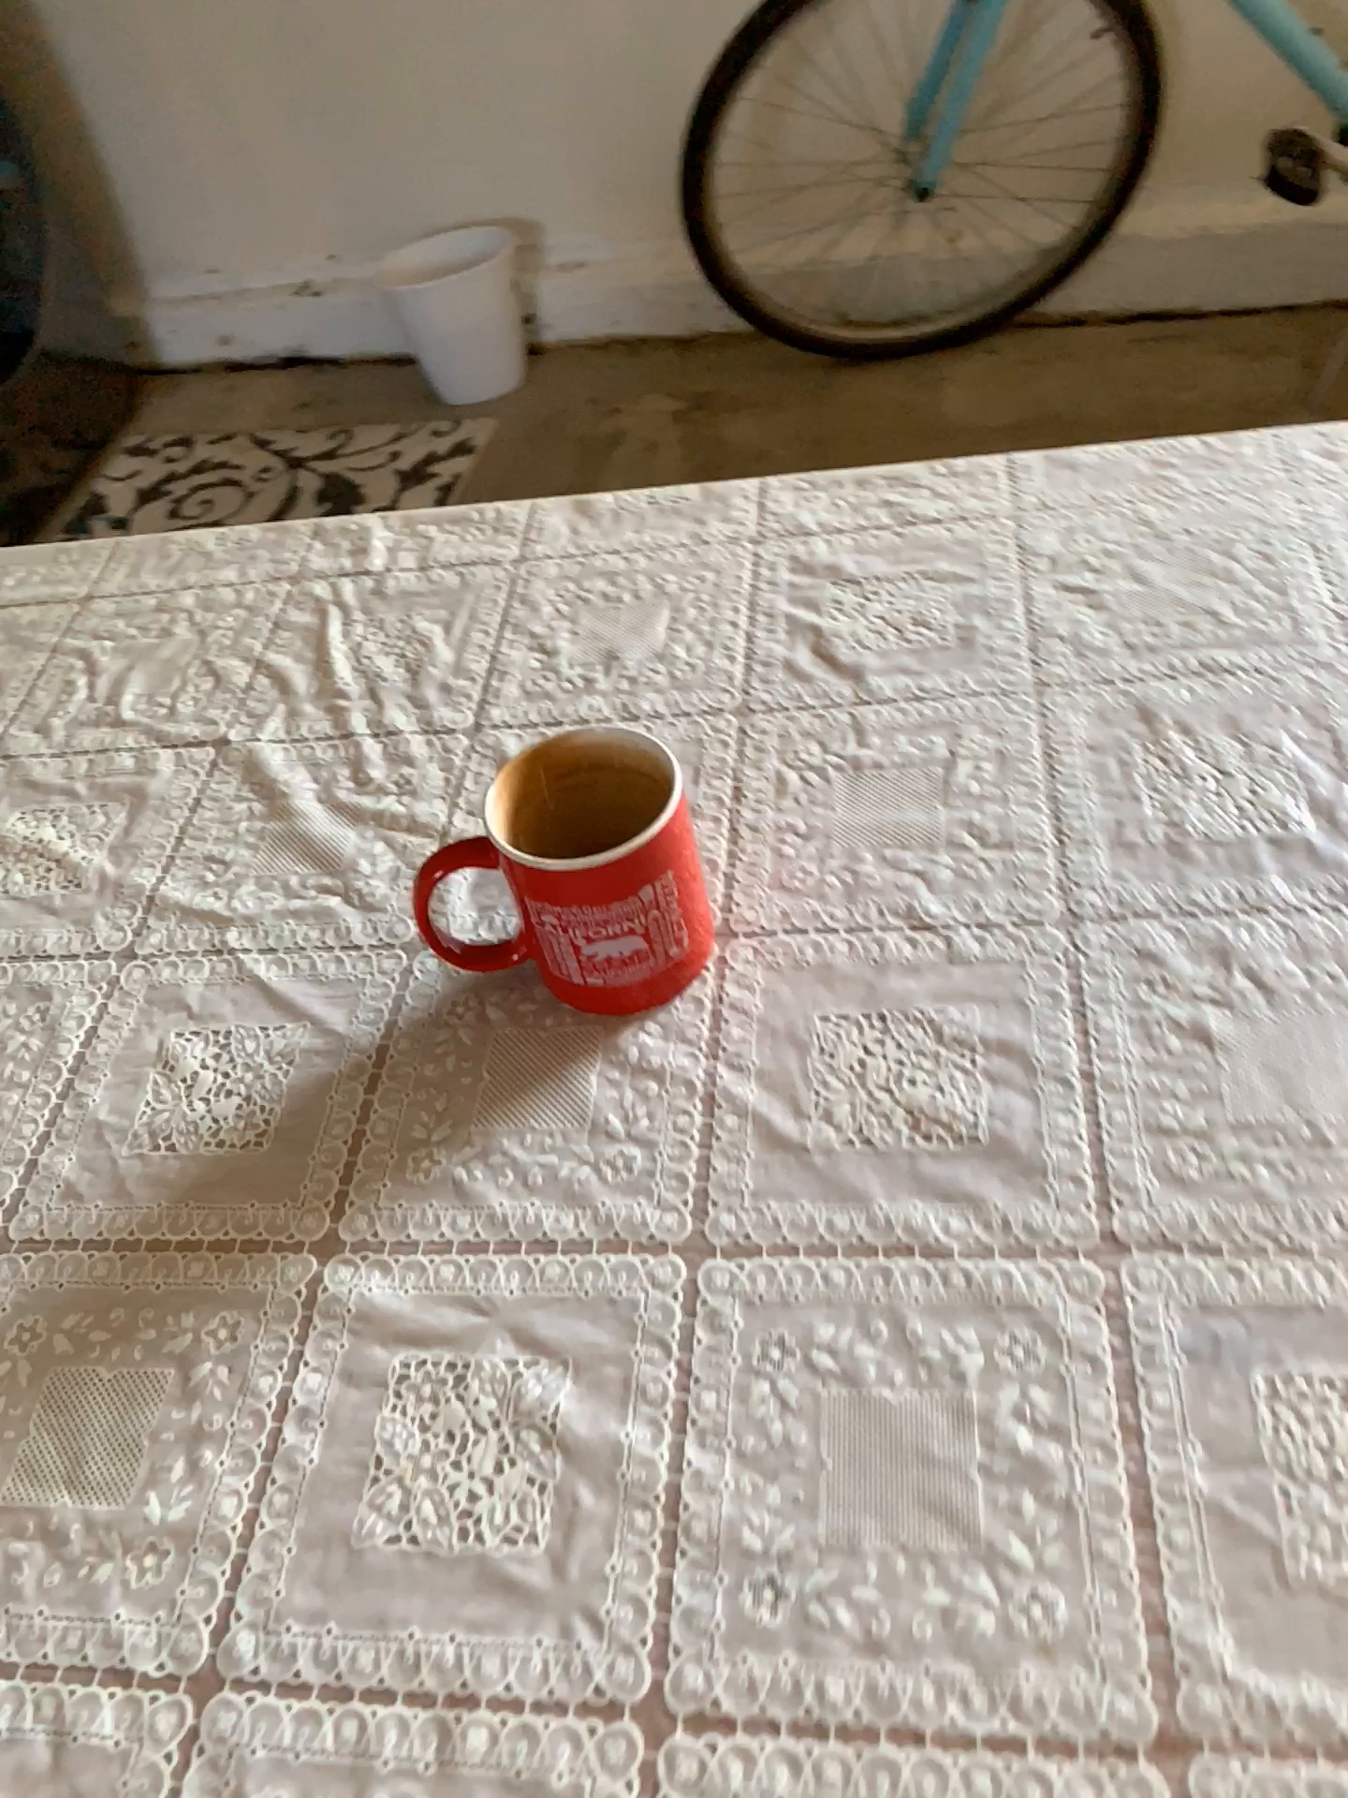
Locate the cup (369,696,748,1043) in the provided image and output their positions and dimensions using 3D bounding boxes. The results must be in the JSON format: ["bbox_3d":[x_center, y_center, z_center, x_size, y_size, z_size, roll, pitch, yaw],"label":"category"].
[{"bbox_3d":[-0.048,-0.012,0.599,0.140,0.080,0.100,-10,49,5],"label":"cup"}]
